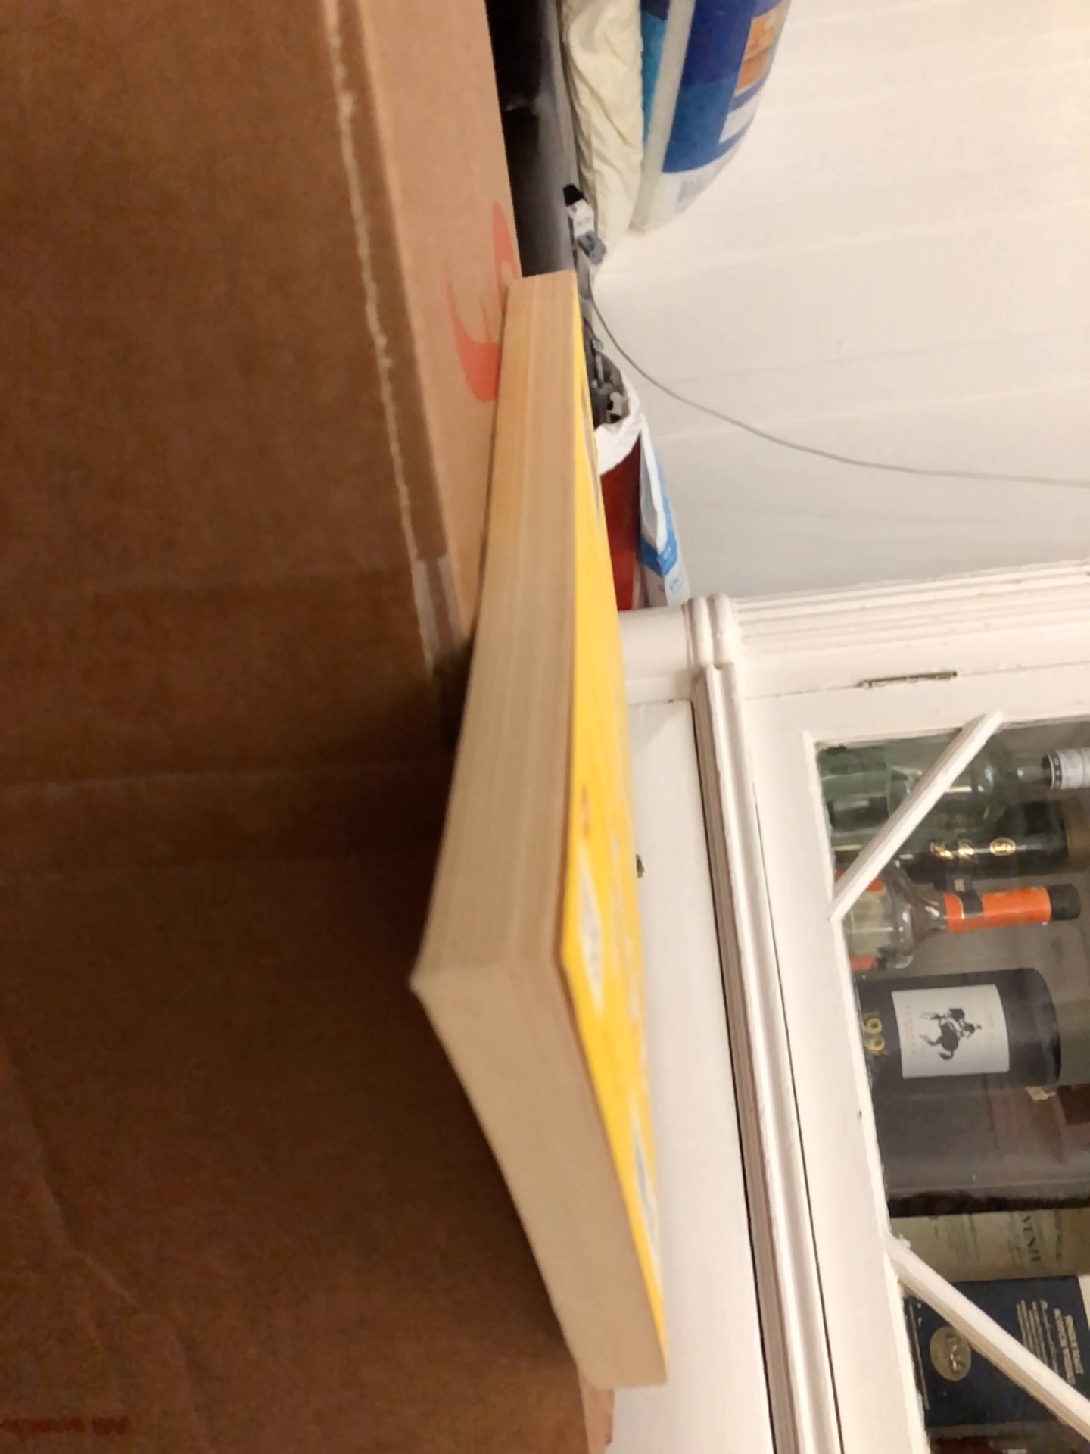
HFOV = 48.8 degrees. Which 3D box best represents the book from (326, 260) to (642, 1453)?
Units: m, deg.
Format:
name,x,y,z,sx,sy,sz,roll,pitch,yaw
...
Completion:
name,x,y,z,sx,sy,sz,roll,pitch,yaw
book,0.000,0.019,0.252,0.210,0.020,0.150,-88,171,-47
